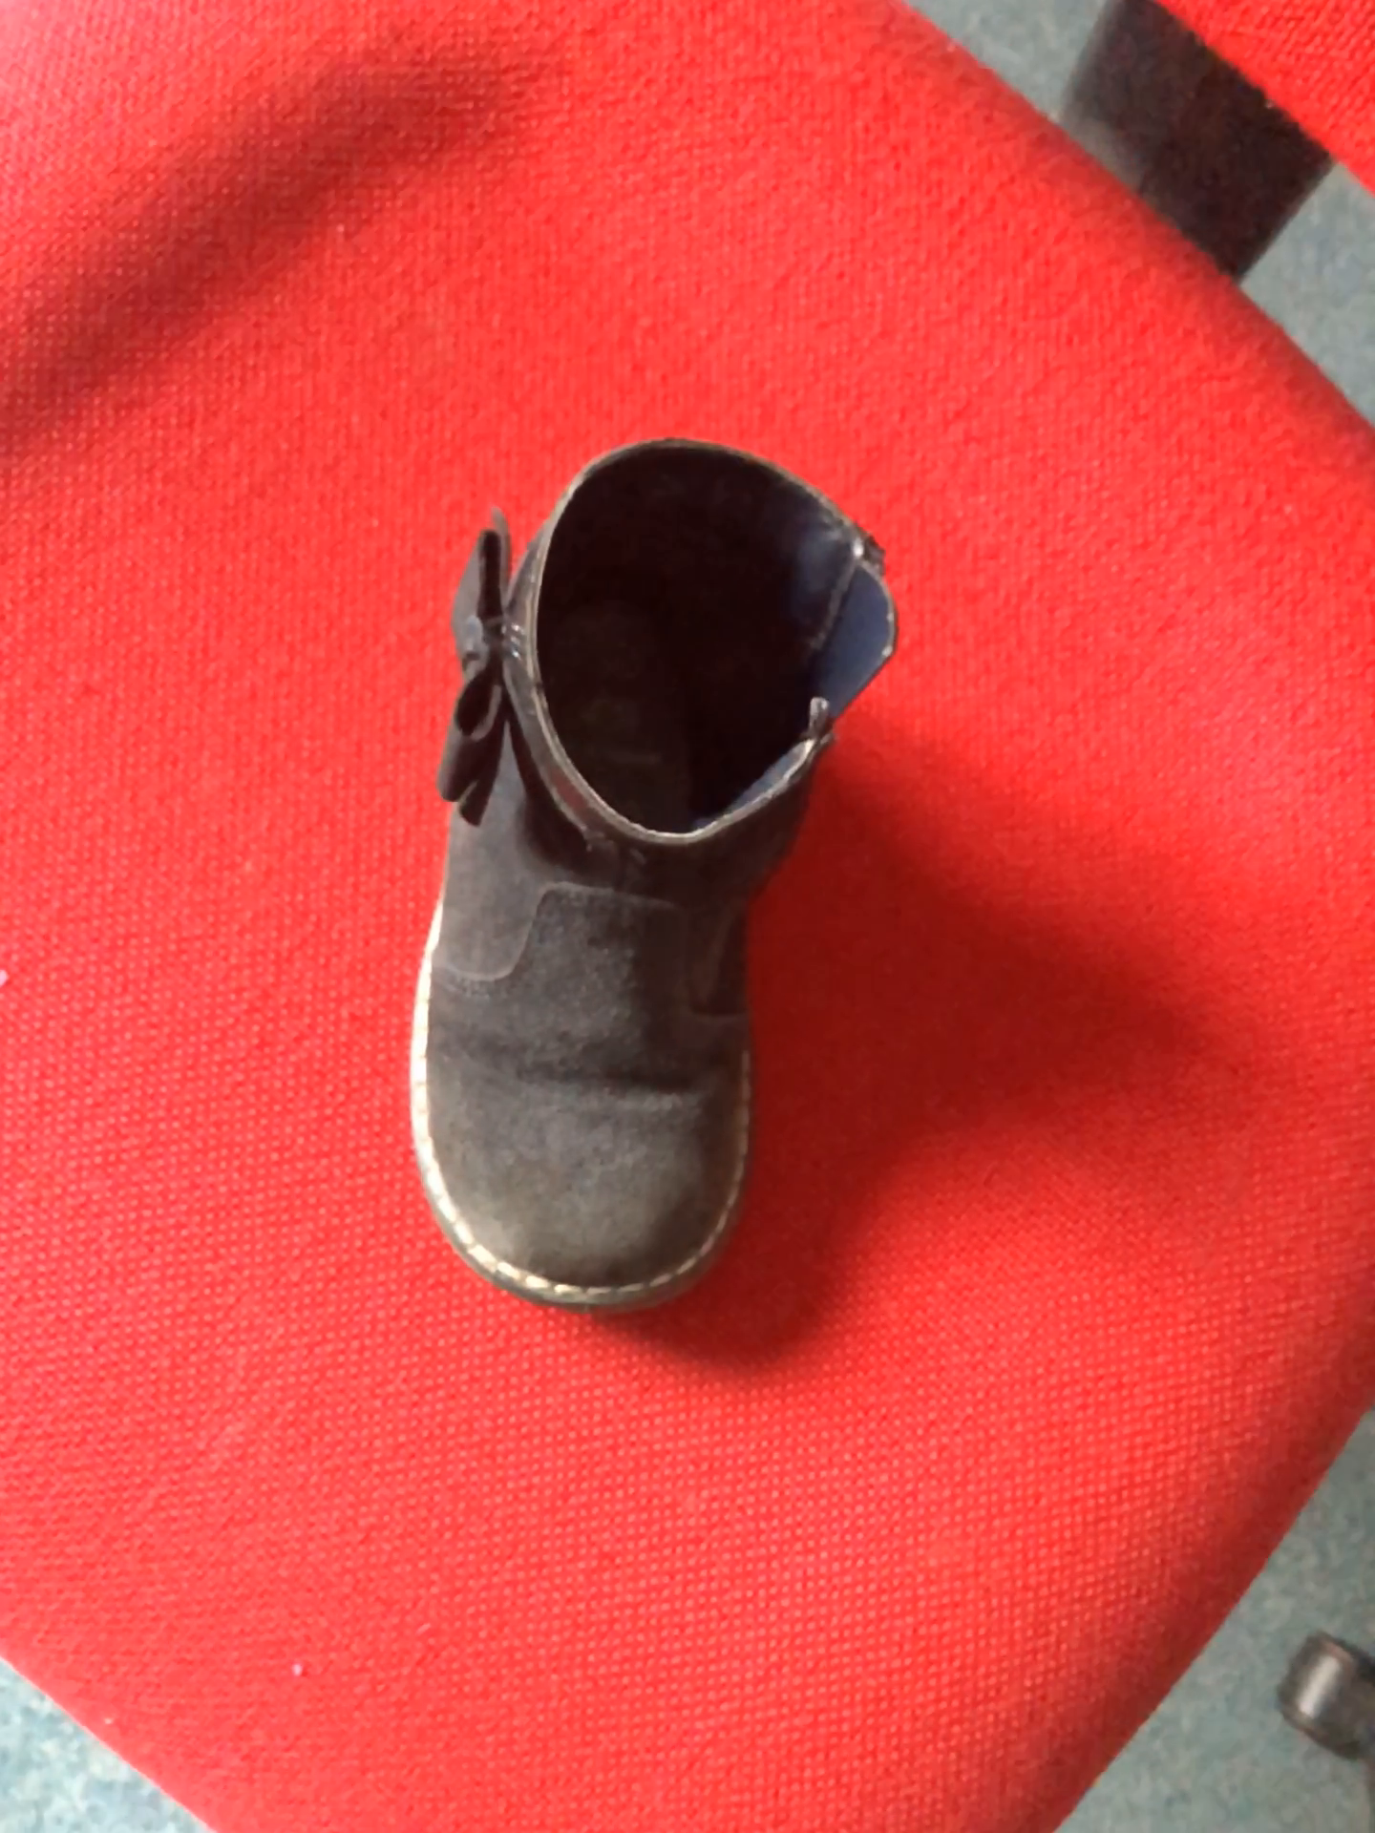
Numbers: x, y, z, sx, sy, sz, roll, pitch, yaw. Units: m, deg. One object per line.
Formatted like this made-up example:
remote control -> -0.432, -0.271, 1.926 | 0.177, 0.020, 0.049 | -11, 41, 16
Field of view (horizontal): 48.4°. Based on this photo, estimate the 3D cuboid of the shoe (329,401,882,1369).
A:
shoe -> -0.014, -0.001, 0.291 | 0.080, 0.100, 0.150 | 3, 83, -4
